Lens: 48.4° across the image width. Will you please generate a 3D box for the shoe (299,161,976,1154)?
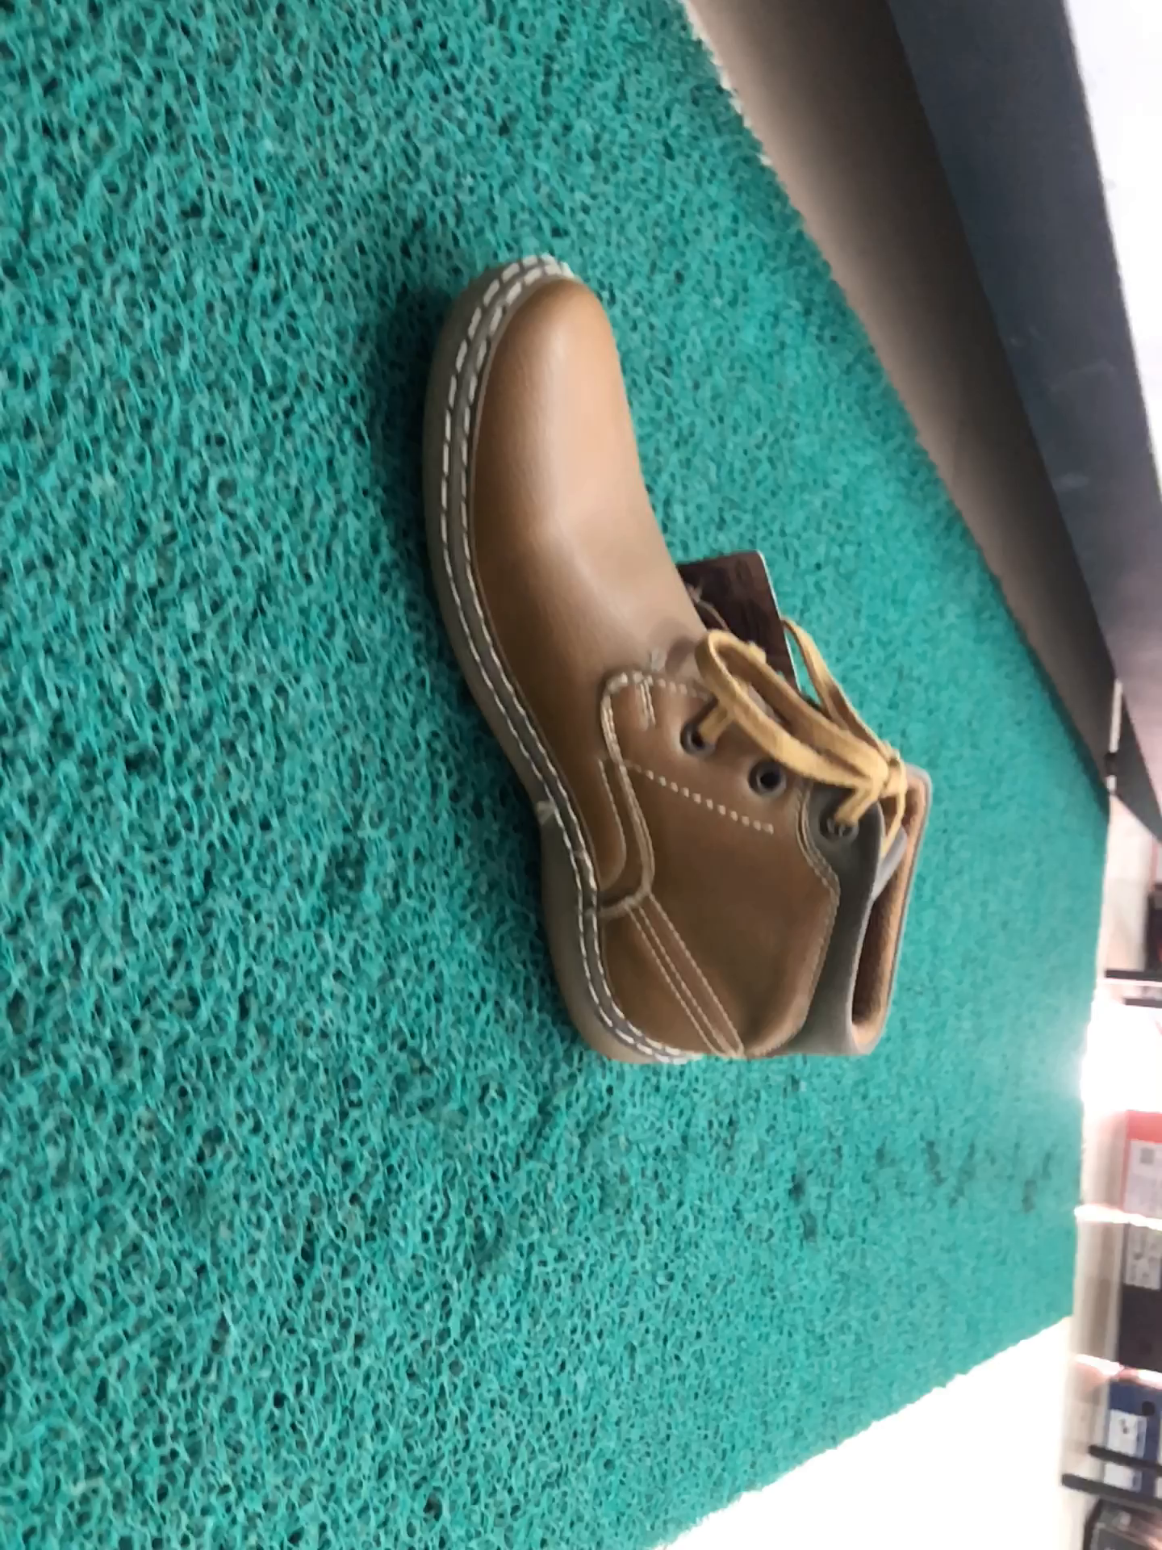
[{"bbox_3d":[0.038,-0.024,0.427,0.100,0.129,0.291,-52,134,-45],"label":"shoe"}]
